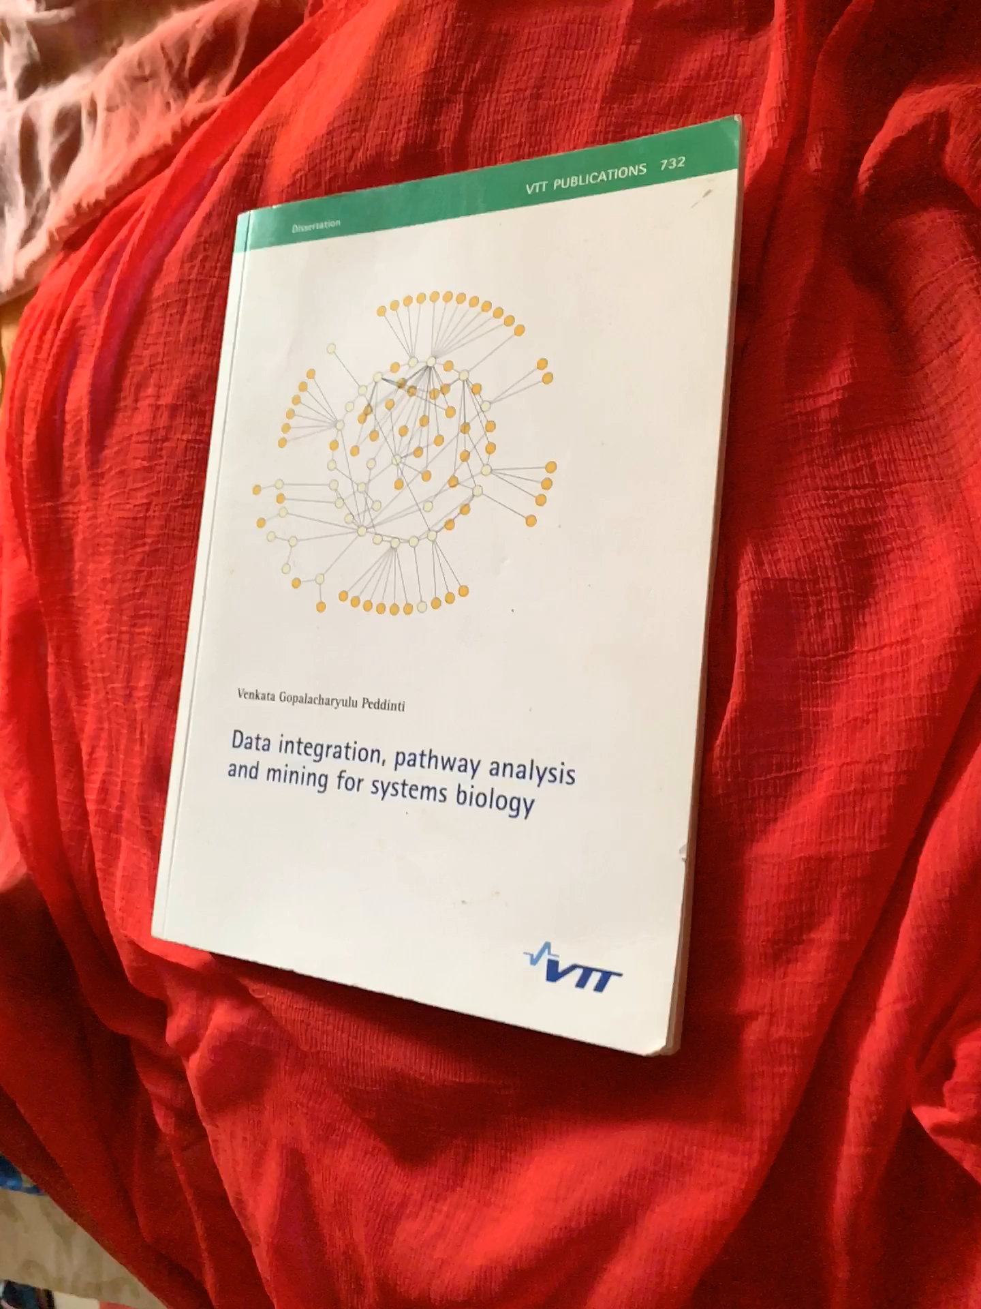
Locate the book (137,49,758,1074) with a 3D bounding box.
[{"bbox_3d":[-0.019,-0.033,0.314,0.181,0.020,0.270,2,83,29],"label":"book"}]
